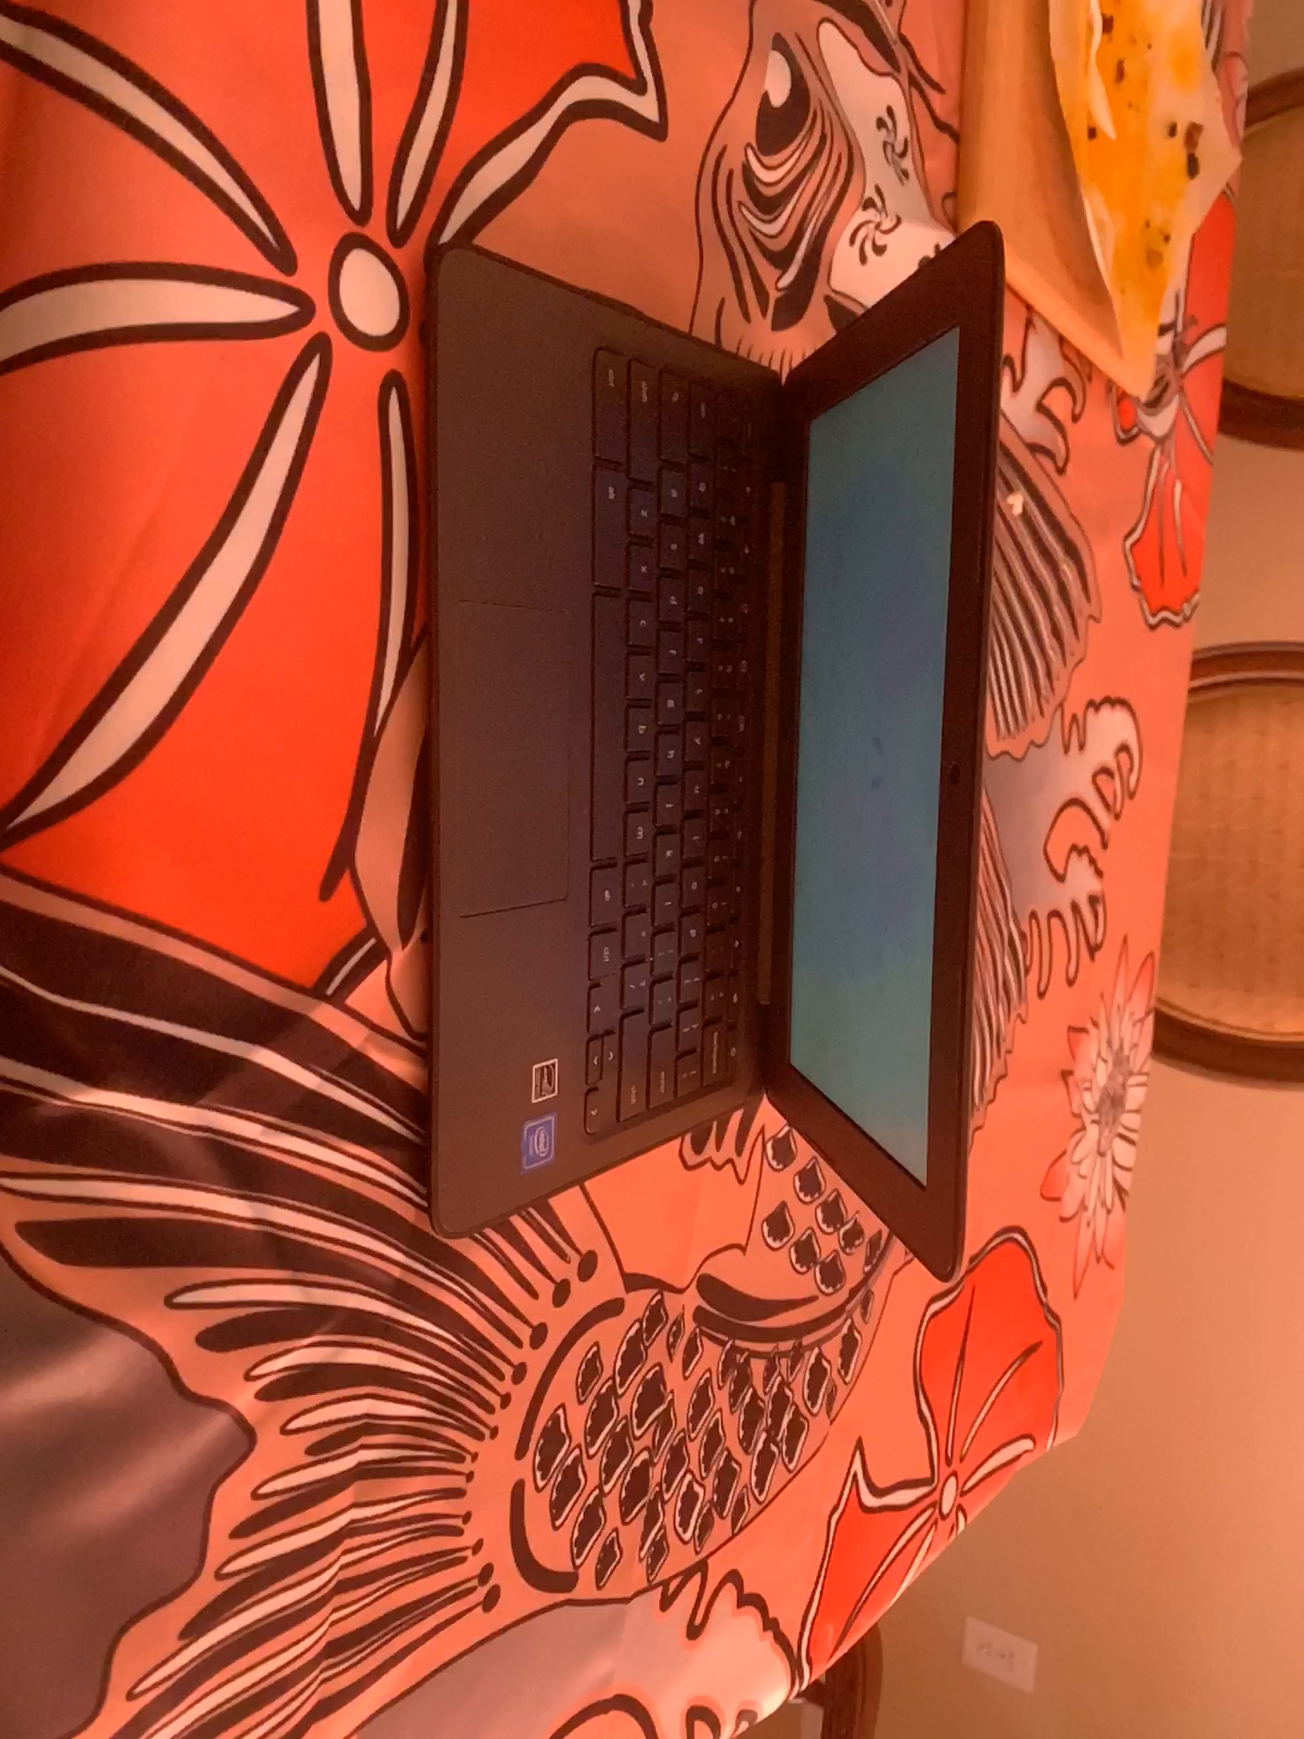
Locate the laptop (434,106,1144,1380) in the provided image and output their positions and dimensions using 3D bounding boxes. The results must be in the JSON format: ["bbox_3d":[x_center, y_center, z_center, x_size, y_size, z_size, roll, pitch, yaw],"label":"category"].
[{"bbox_3d":[0.054,-0.035,0.445,0.212,0.144,0.299,-9,102,-56],"label":"laptop"}]
